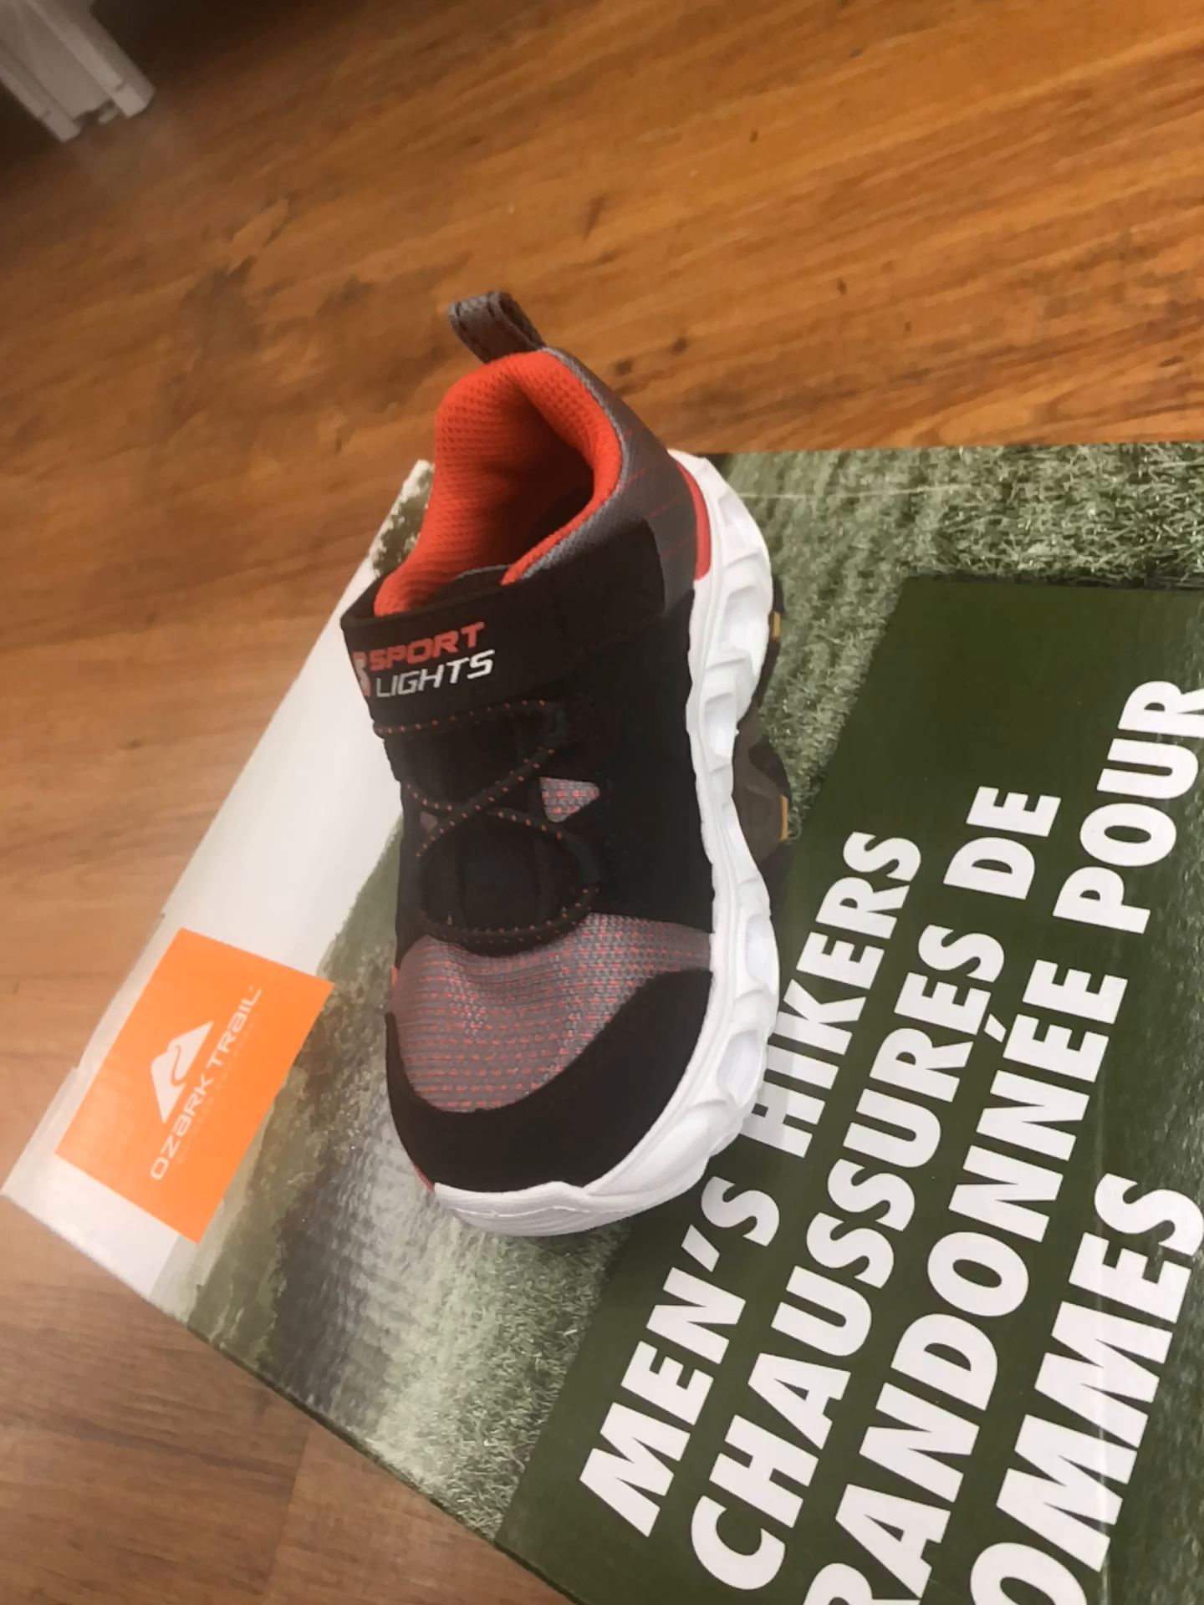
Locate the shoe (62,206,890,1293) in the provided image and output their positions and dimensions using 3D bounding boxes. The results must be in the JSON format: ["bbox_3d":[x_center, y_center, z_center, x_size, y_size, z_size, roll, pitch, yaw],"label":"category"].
[{"bbox_3d":[-0.009,-0.007,0.259,0.090,0.090,0.170,-9,55,31],"label":"shoe"}]
